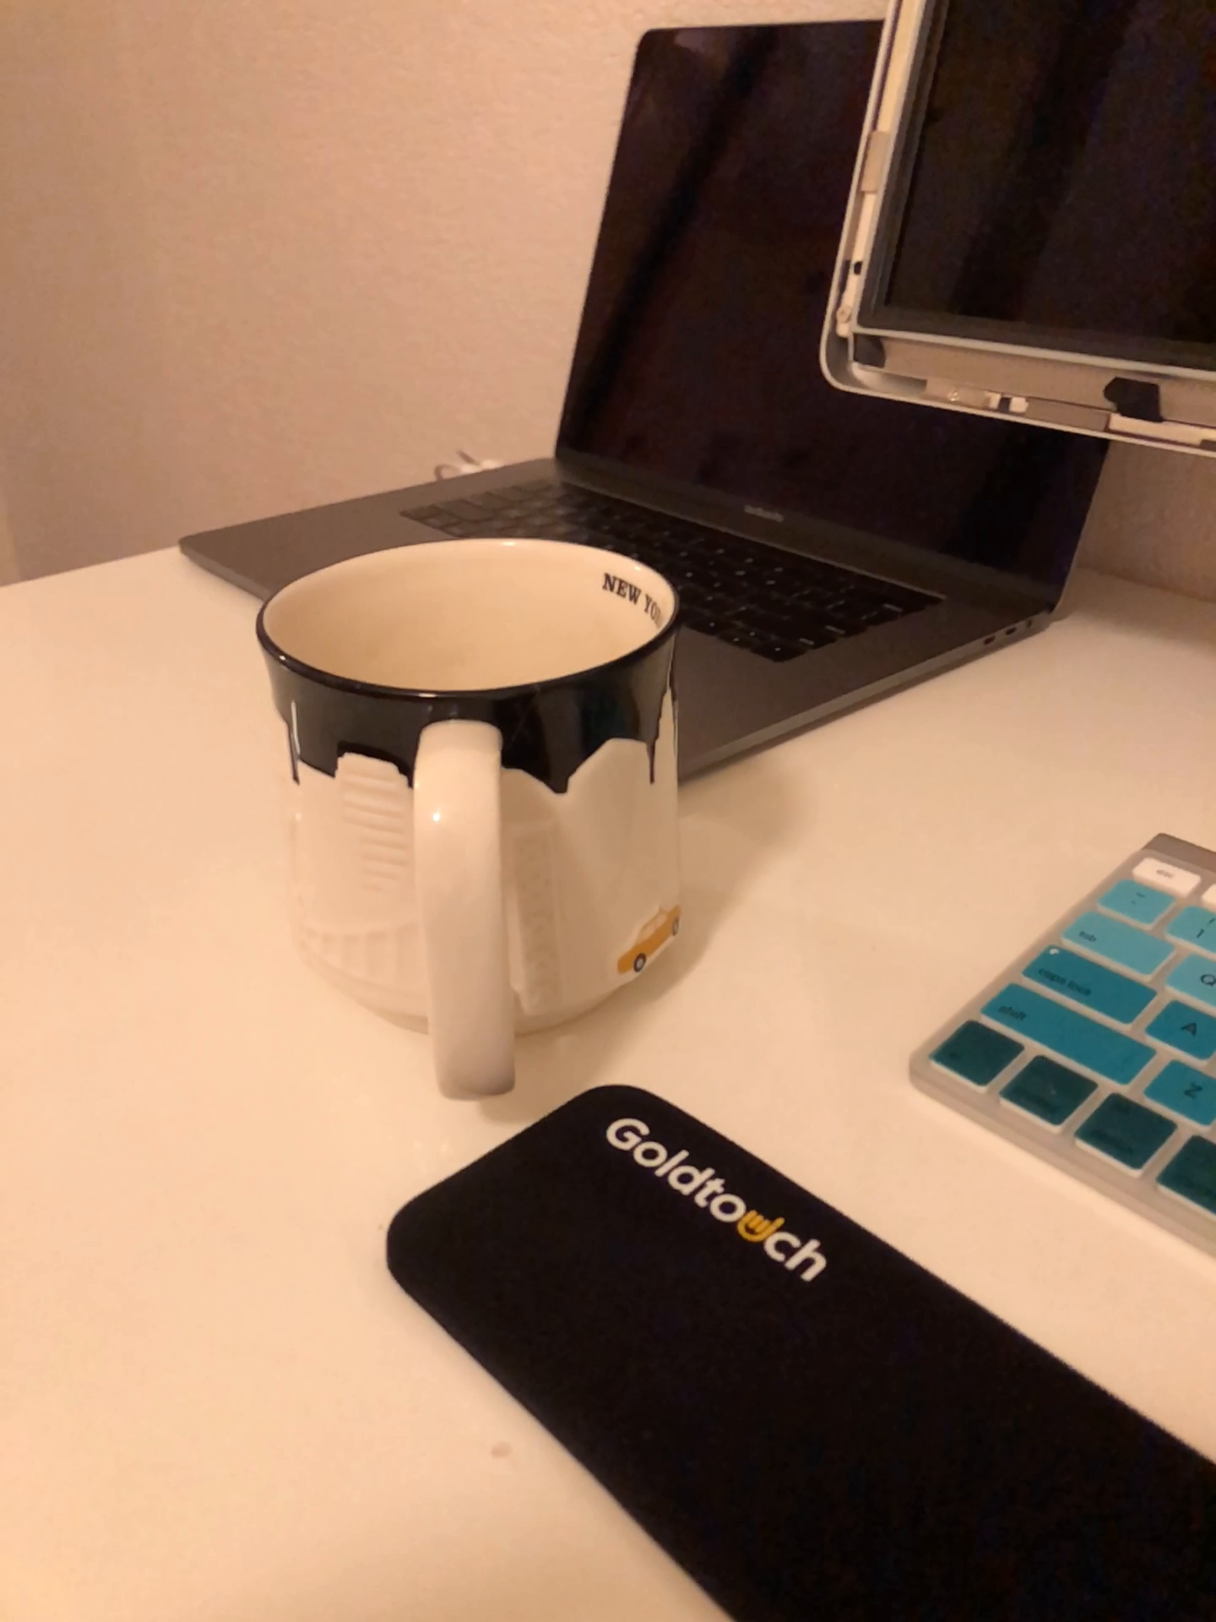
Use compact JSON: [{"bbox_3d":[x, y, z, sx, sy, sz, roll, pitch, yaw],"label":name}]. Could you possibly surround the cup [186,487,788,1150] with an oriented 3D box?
[{"bbox_3d":[-0.035,-0.011,0.329,0.110,0.089,0.151,-7,29,-10],"label":"cup"}]
